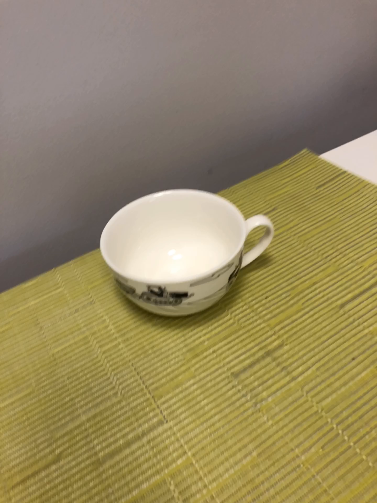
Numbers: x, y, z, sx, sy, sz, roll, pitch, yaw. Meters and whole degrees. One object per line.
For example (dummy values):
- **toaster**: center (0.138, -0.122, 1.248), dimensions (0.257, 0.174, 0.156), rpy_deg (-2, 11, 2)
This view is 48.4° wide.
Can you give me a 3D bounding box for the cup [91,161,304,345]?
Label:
- **cup**: center (0.003, -0.004, 0.283), dimensions (0.113, 0.051, 0.089), rpy_deg (-17, 42, -10)
